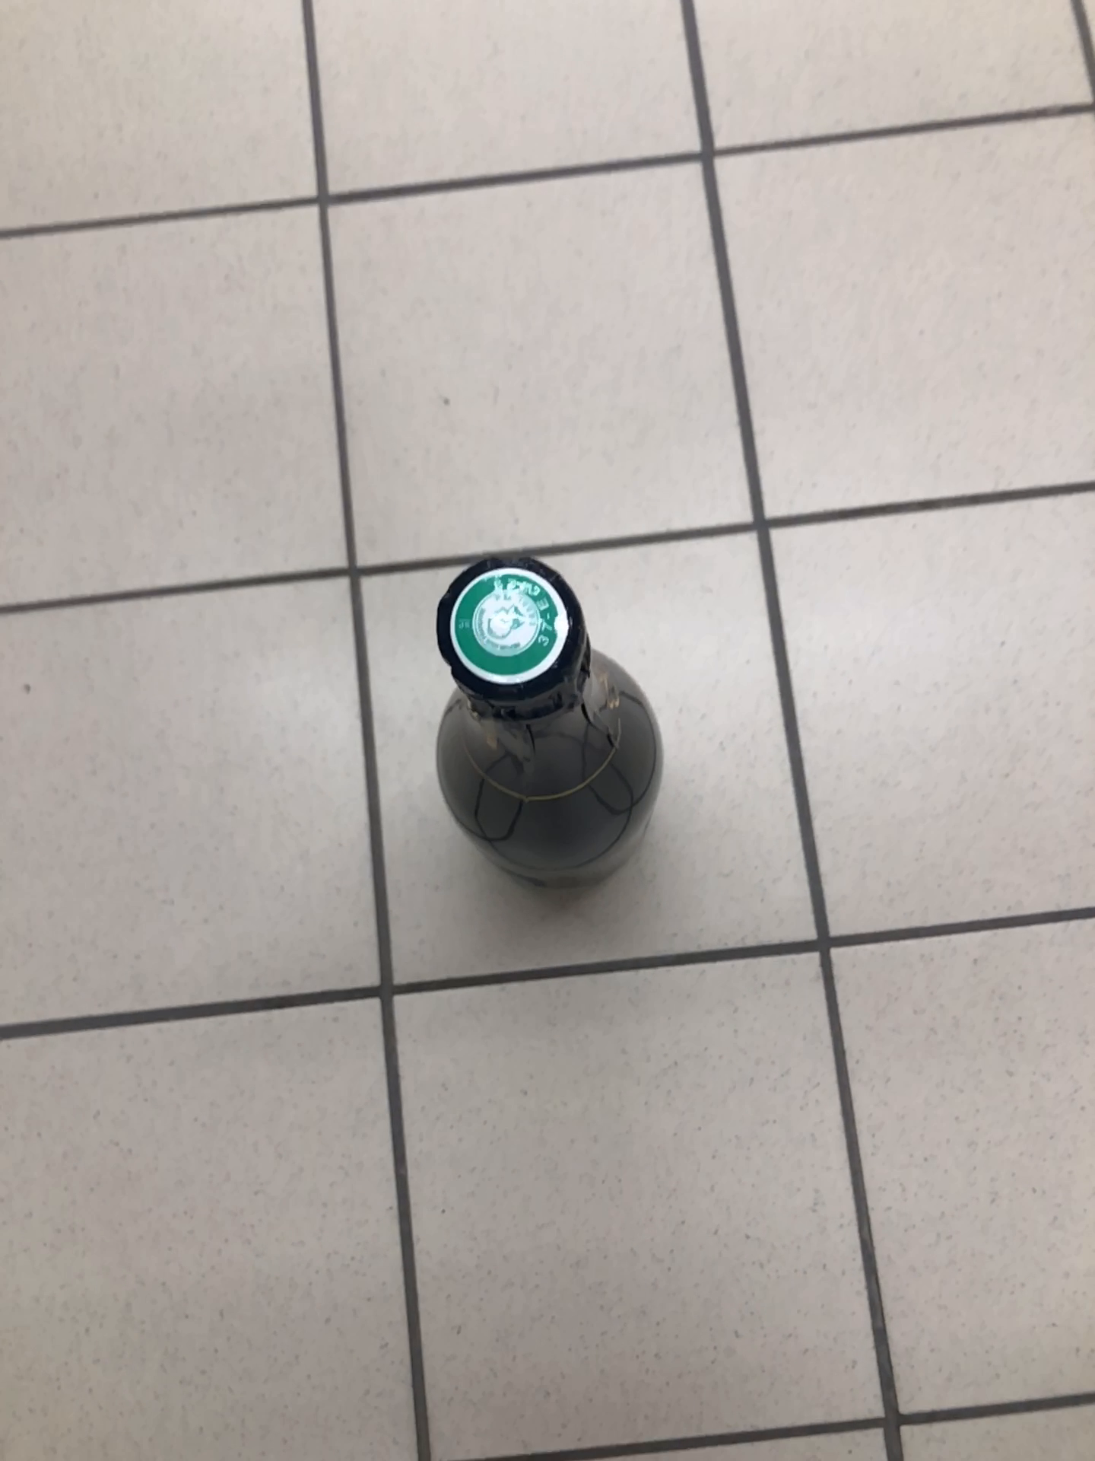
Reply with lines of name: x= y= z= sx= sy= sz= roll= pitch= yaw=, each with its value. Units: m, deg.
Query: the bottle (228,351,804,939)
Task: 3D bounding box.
bottle: x=-0.001 y=0.004 z=0.415 sx=0.090 sy=0.310 sz=0.090 roll=0 pitch=79 yaw=2
